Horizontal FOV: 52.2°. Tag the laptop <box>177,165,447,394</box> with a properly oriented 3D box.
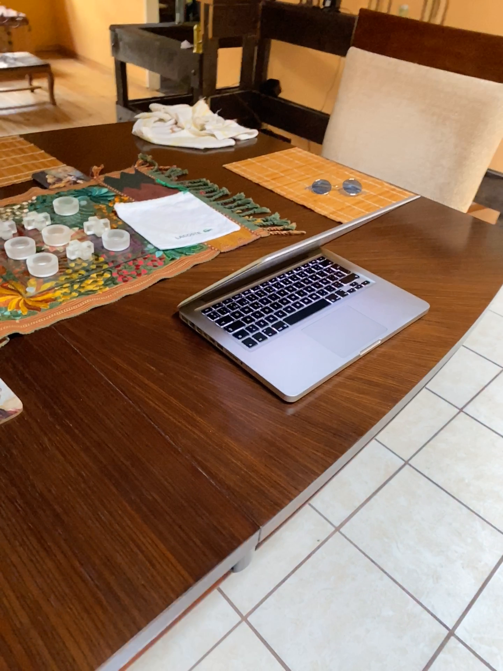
[{"bbox_3d":[0.086,-0.104,0.736,0.213,0.152,0.323,34,45,31],"label":"laptop"}]
